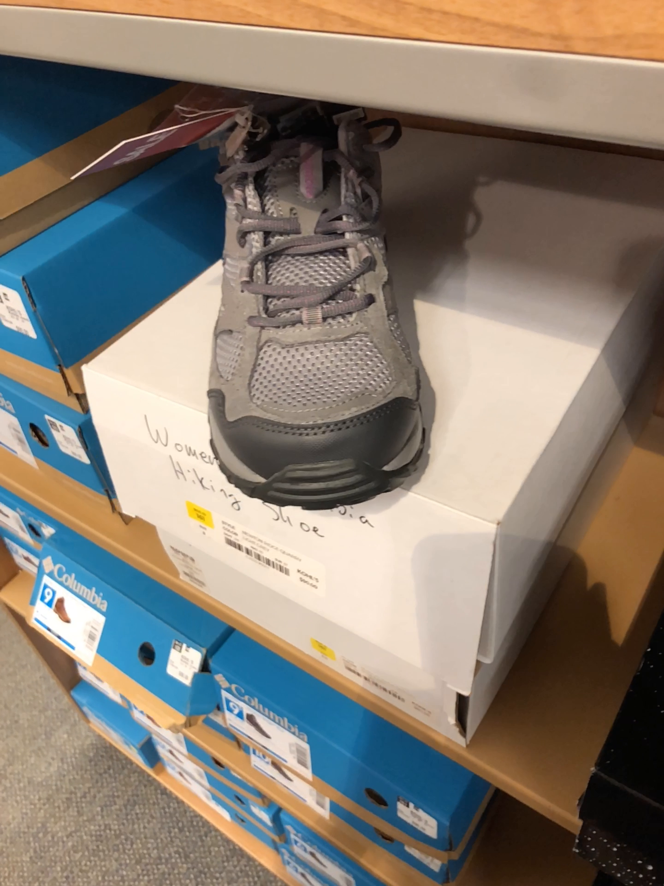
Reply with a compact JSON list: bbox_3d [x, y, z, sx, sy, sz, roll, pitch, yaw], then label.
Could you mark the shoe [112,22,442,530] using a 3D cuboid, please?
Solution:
[{"bbox_3d":[-0.011,-0.101,0.366,0.104,0.114,0.268,-4,44,5],"label":"shoe"}]
